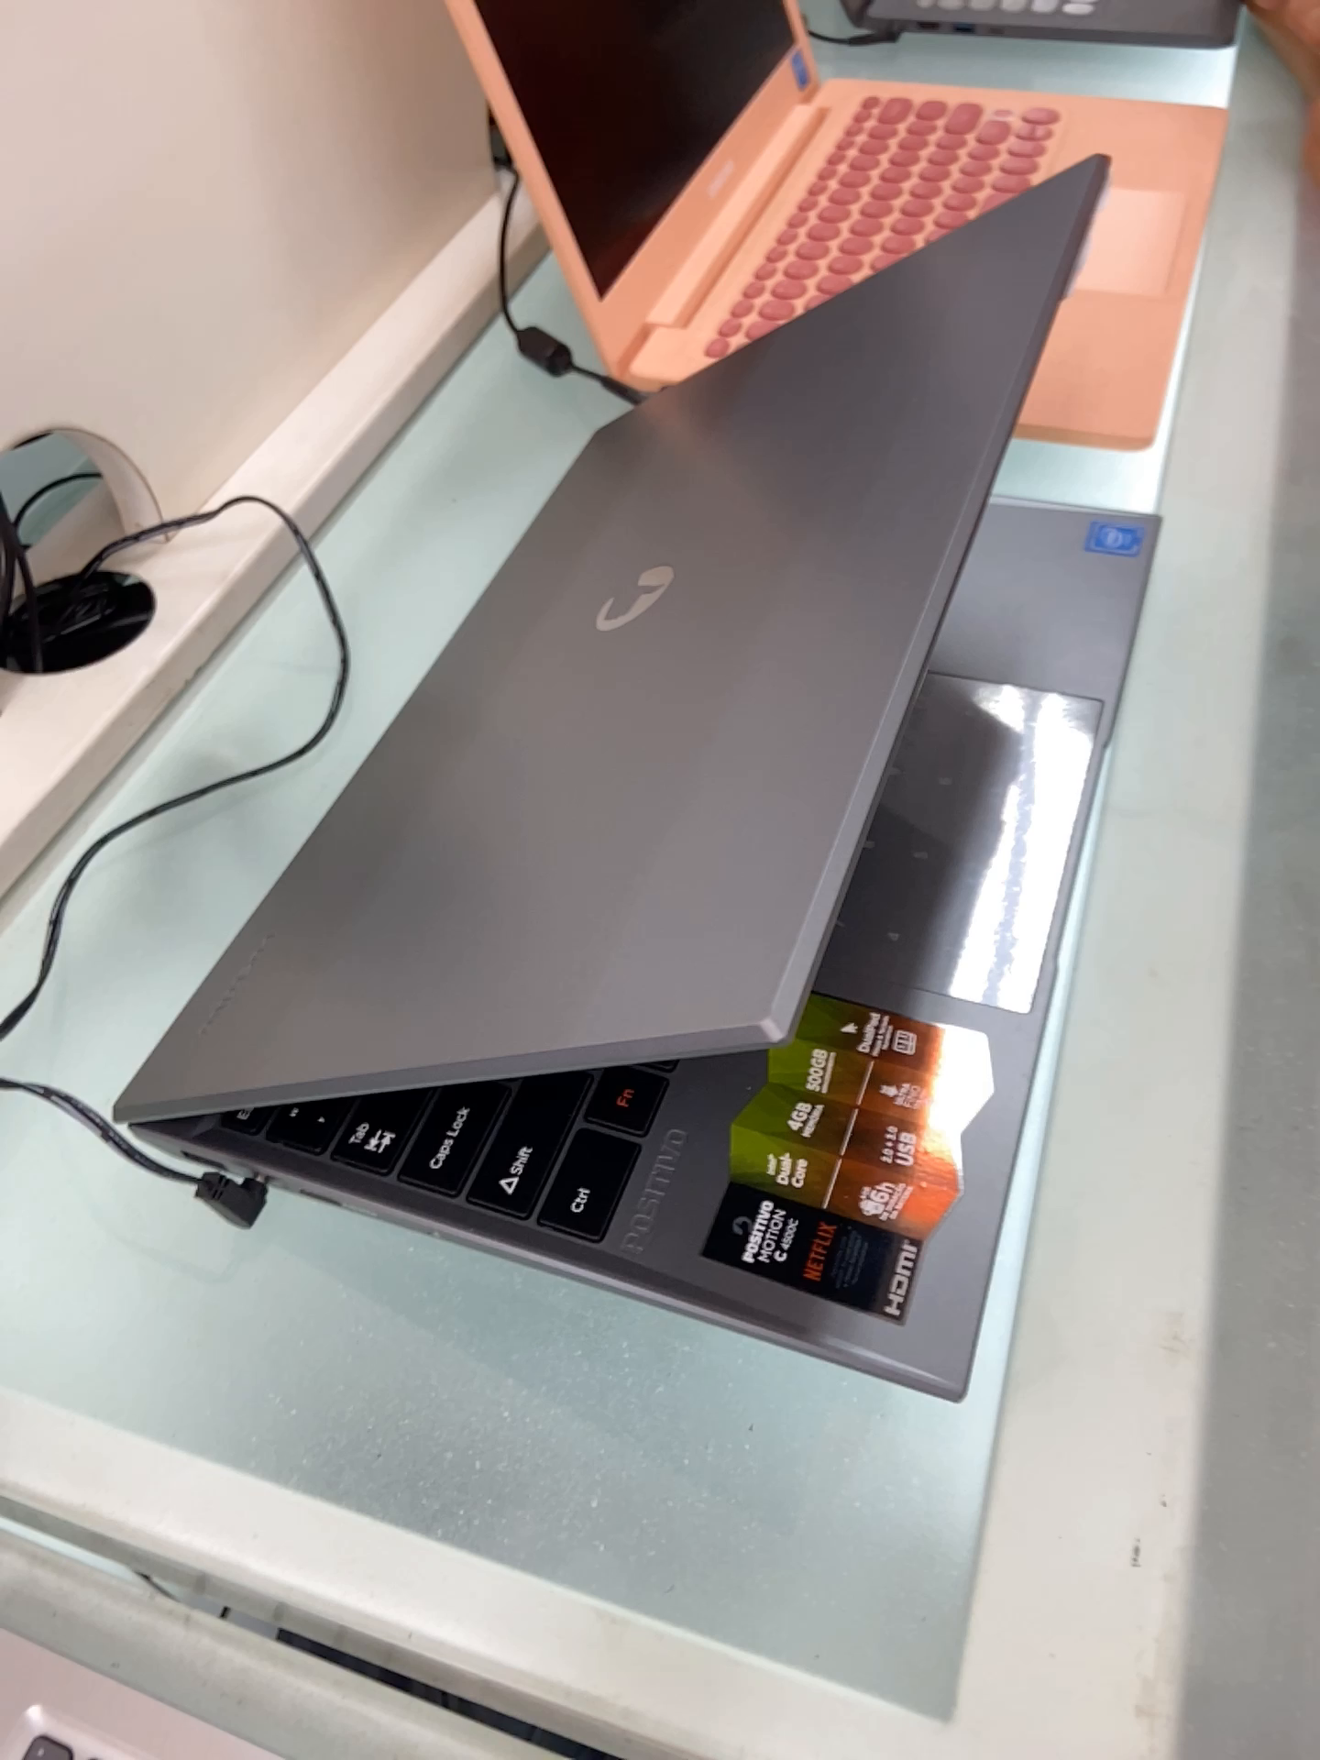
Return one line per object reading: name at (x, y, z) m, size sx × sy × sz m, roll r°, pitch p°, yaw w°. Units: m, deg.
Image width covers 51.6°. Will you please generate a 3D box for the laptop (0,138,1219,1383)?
laptop at (0.014, -0.073, 0.379) m, size 0.210 × 0.113 × 0.335 m, roll 13°, pitch 51°, yaw 17°
